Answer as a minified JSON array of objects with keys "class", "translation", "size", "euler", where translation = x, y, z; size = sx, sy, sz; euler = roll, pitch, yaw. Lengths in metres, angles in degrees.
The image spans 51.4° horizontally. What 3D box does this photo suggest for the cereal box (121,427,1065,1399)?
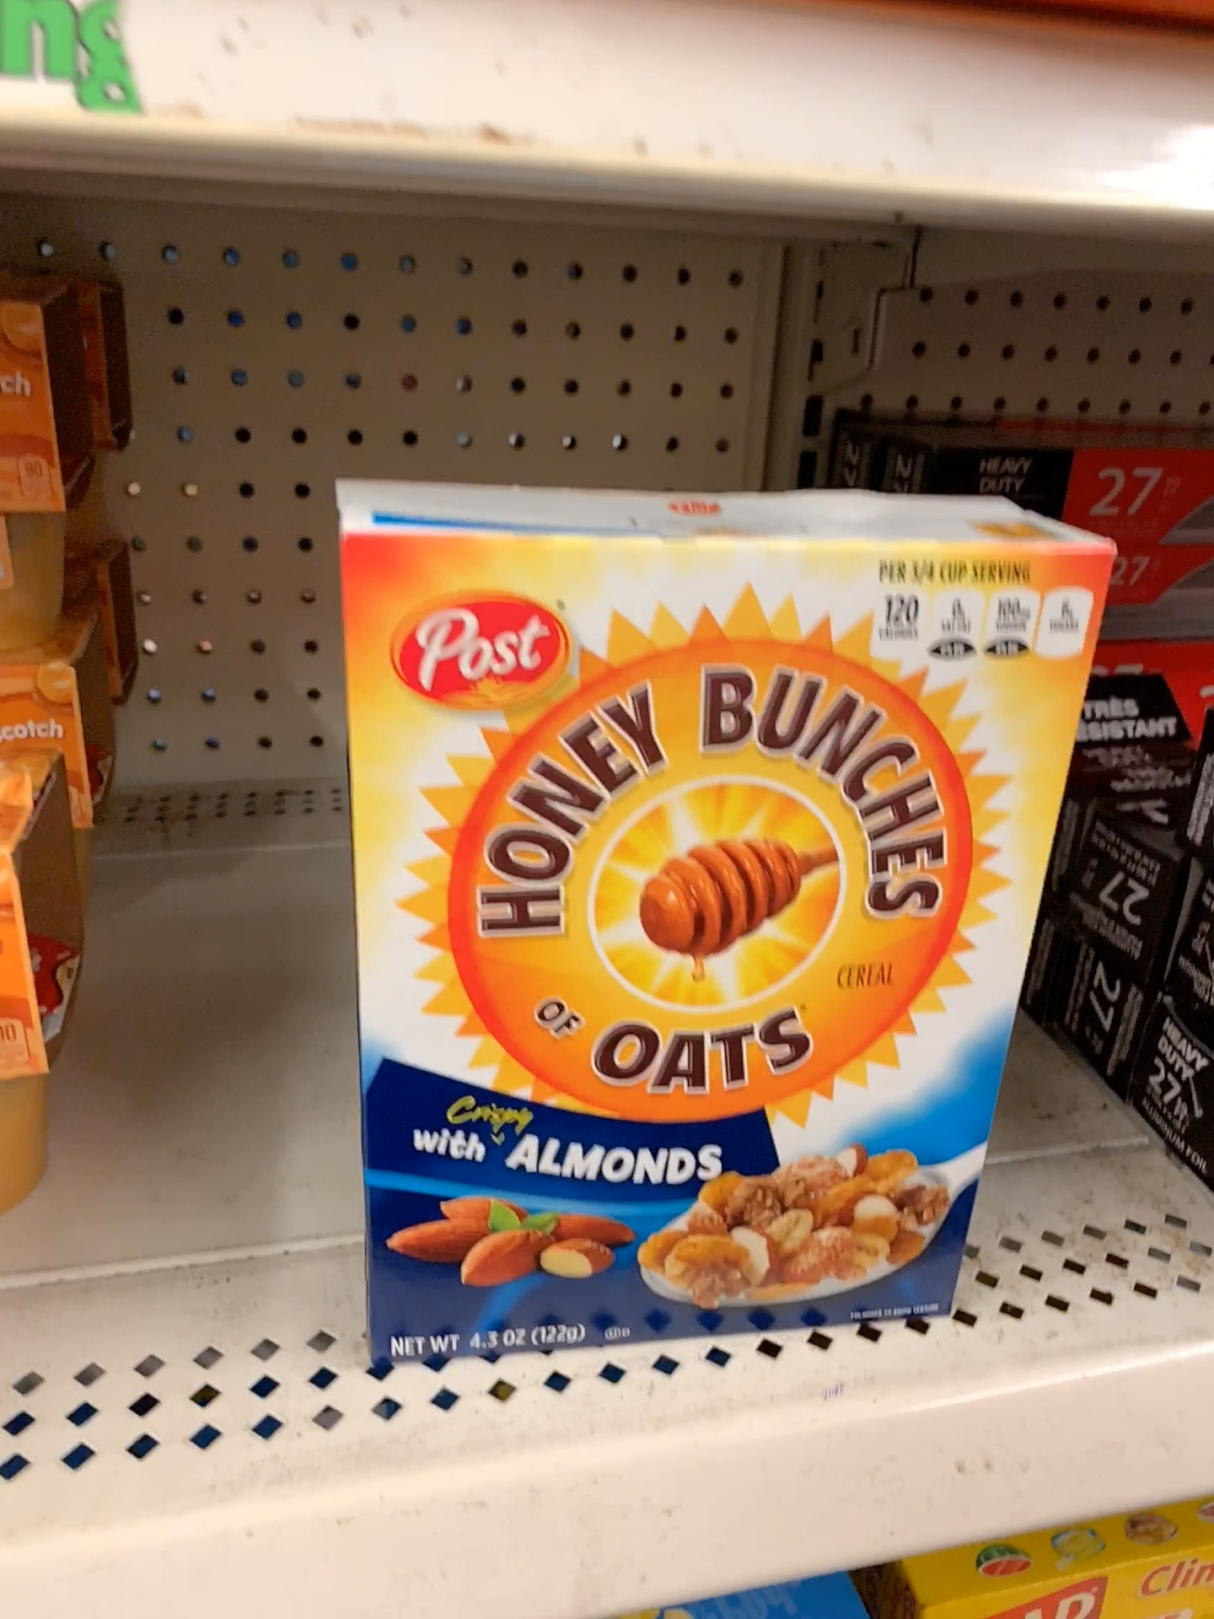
[{"class":"cereal box","translation":[-0.005,0.024,0.259],"size":[0.150,0.189,0.050],"euler":[-2,24,-8]}]
